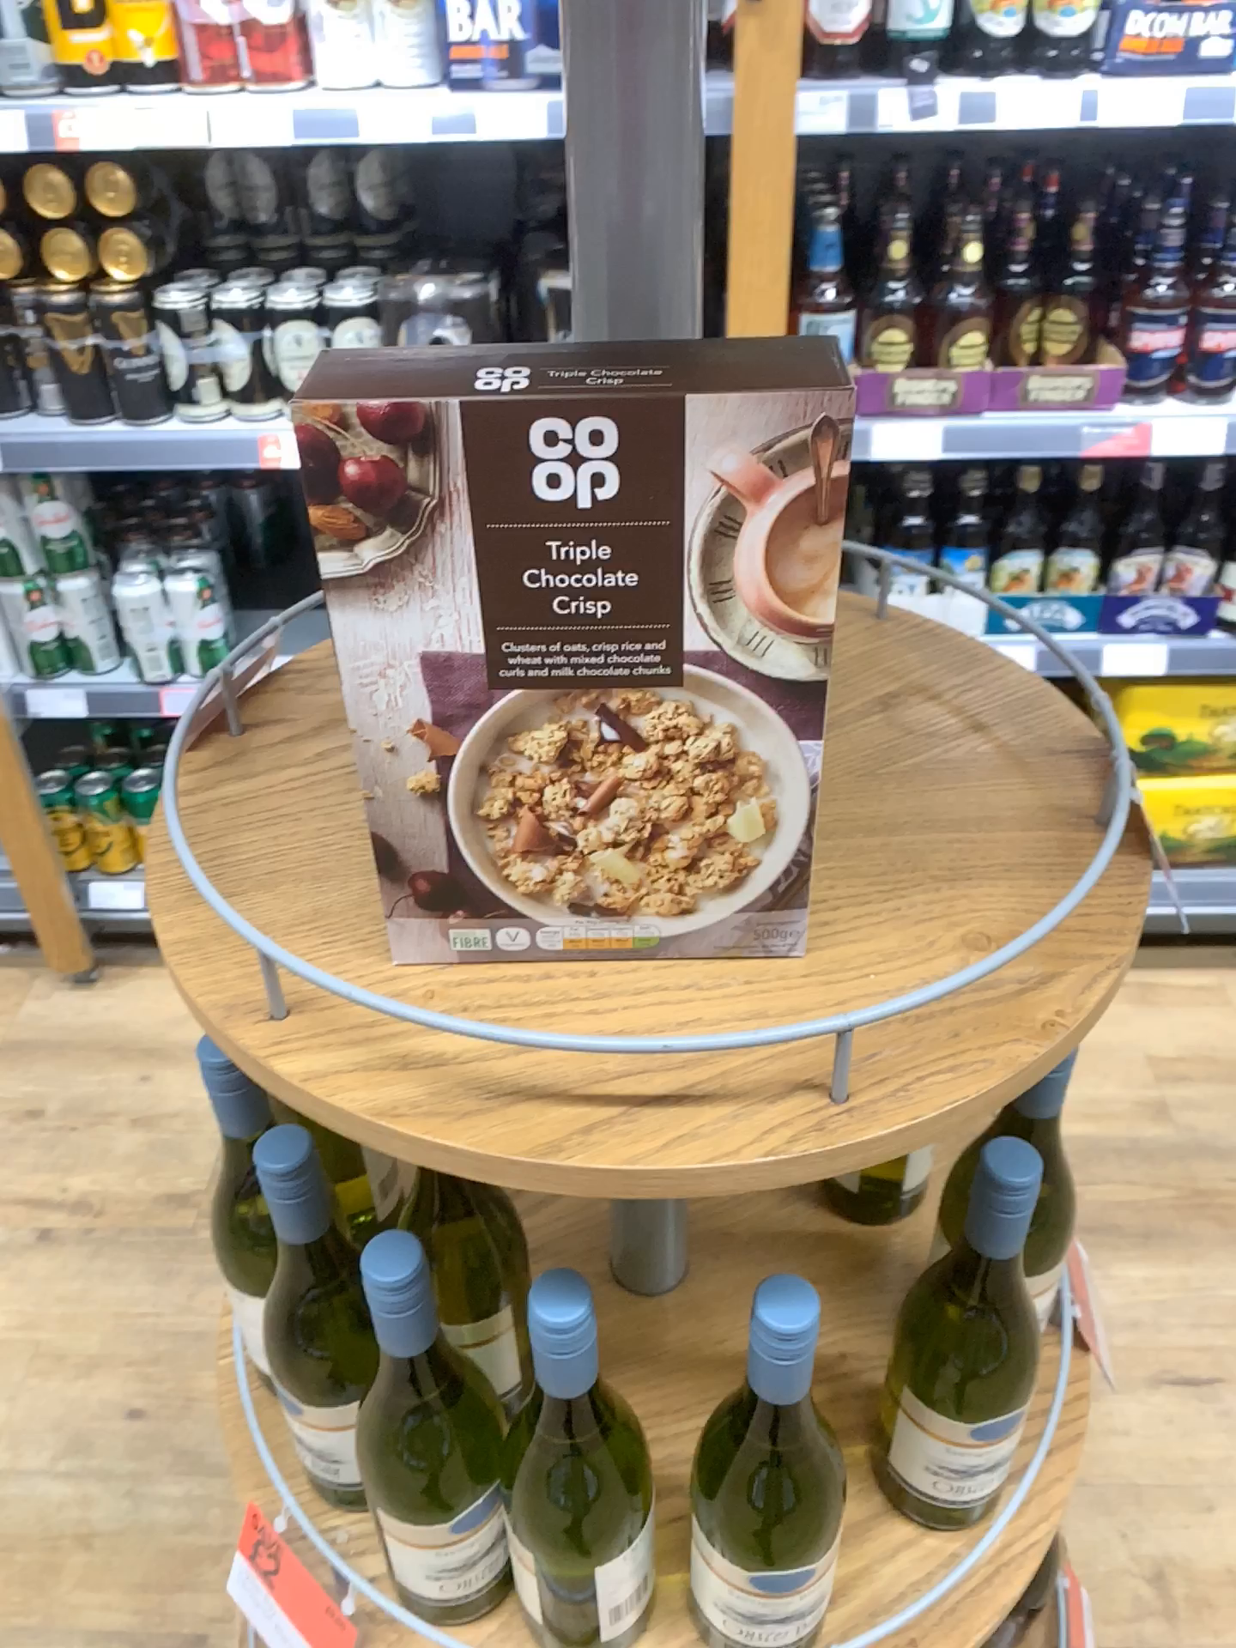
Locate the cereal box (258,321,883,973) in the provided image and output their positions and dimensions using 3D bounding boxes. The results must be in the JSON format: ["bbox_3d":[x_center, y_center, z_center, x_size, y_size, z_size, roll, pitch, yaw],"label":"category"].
[{"bbox_3d":[-0.012,-0.052,0.481,0.190,0.248,0.051,-1,37,1],"label":"cereal box"}]
